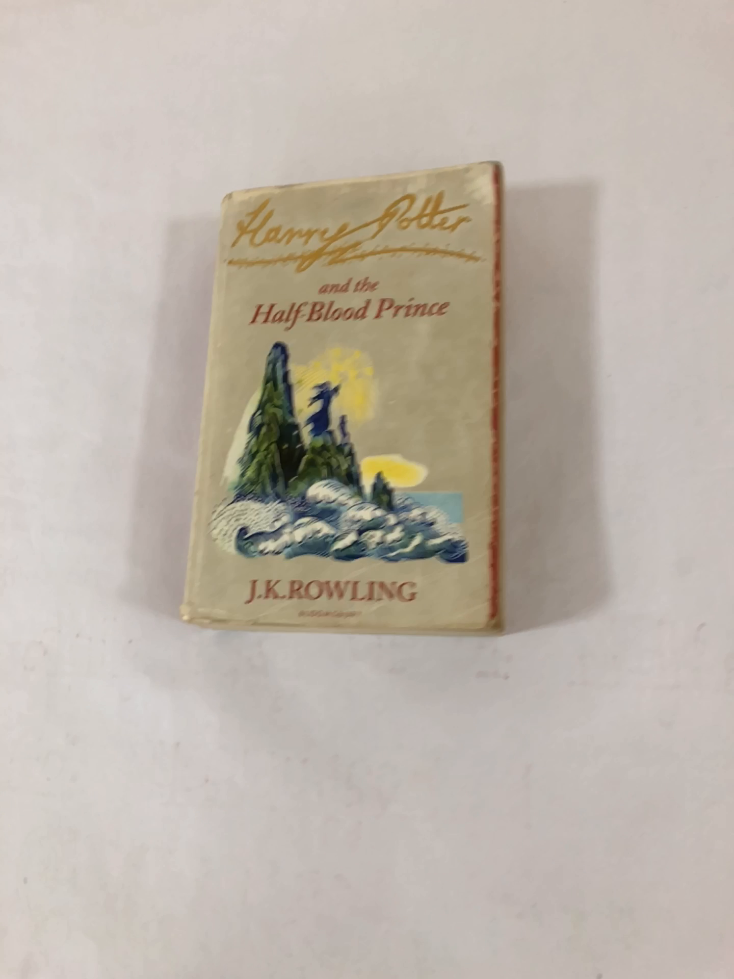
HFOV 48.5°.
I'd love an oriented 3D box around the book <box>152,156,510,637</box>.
[{"bbox_3d":[-0.009,-0.034,0.333,0.129,0.050,0.181,-1,76,12],"label":"book"}]
